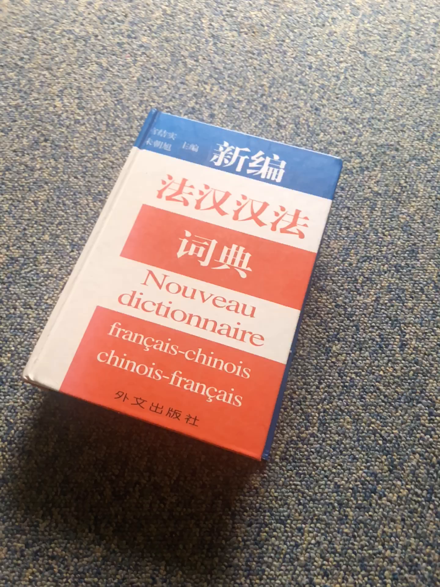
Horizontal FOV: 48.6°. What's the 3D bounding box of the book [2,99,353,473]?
[{"bbox_3d":[-0.016,-0.016,0.312,0.152,0.034,0.209,16,69,7],"label":"book"}]
